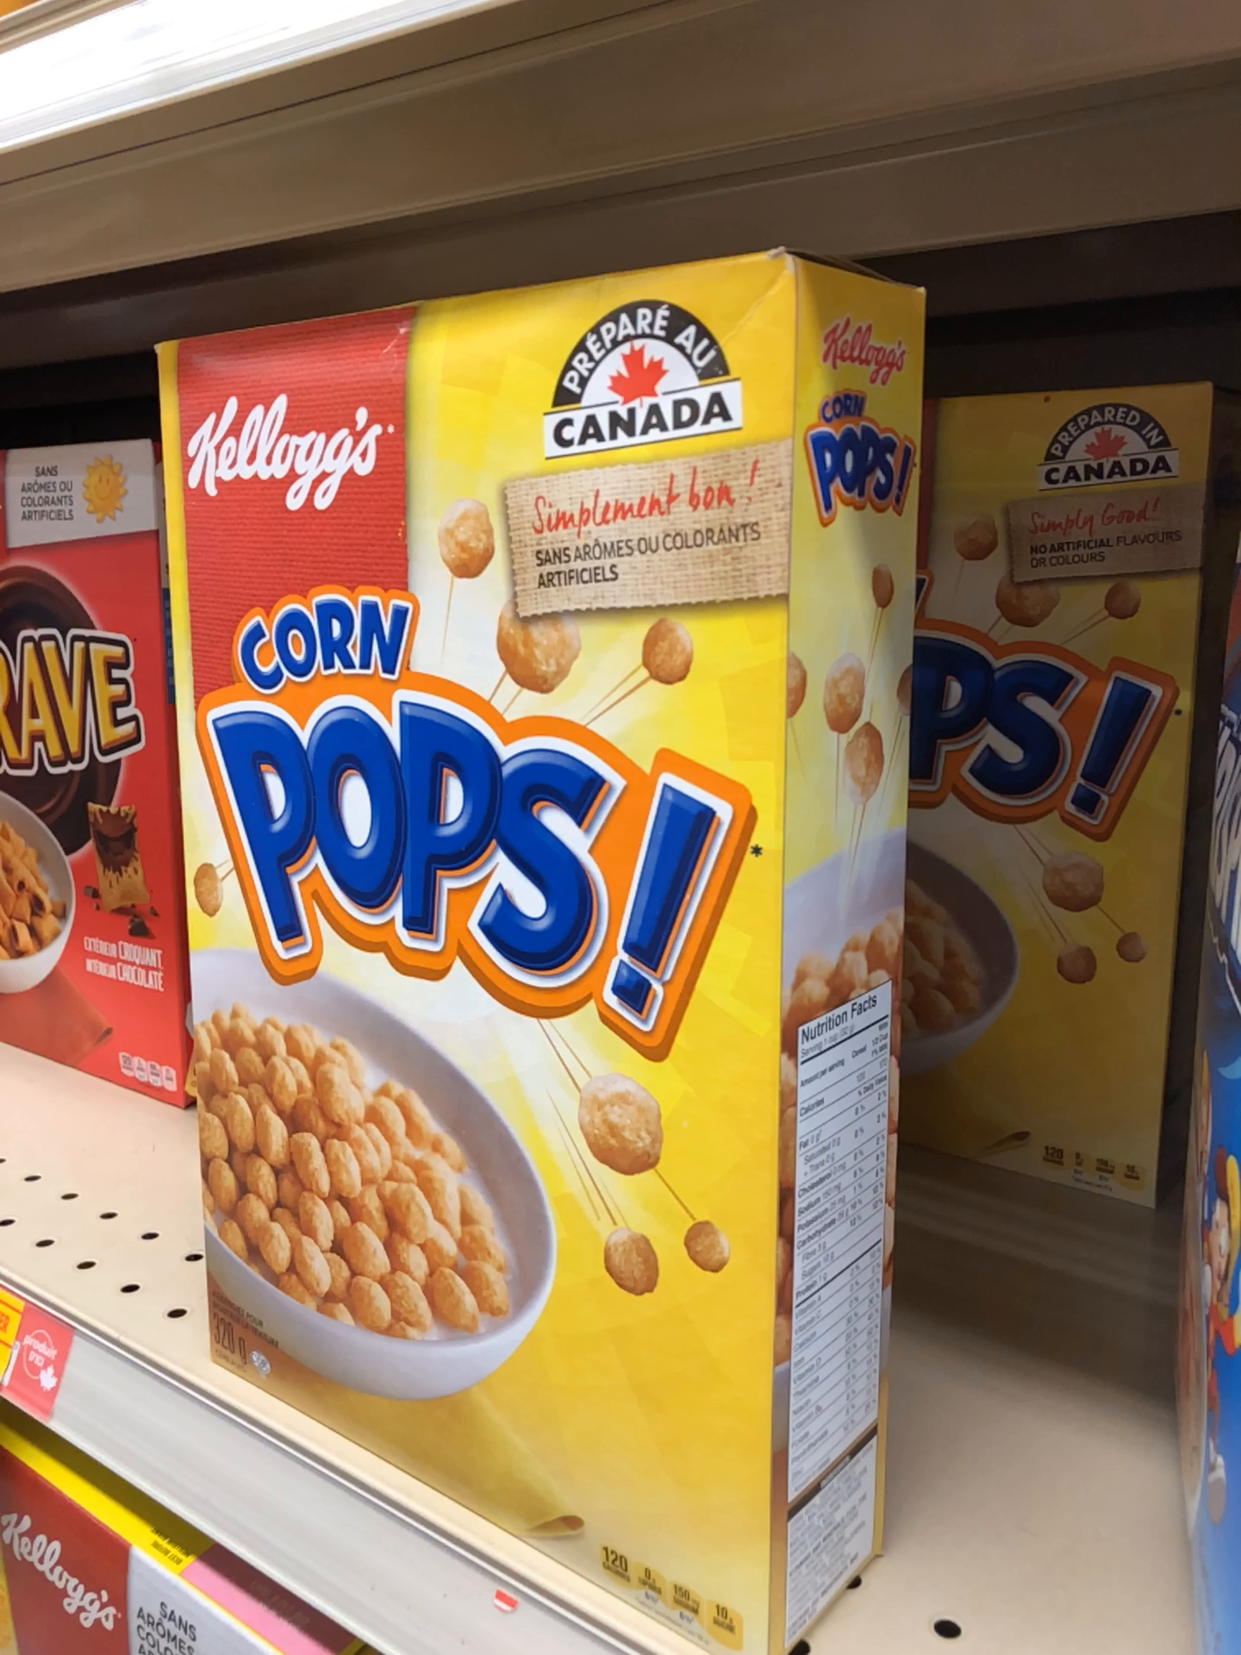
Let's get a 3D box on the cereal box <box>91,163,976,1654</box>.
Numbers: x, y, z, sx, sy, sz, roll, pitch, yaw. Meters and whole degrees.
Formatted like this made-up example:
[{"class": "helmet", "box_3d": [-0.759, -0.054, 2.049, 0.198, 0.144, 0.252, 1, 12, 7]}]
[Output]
[{"class": "cereal box", "box_3d": [-0.031, 0.017, 0.334, 0.210, 0.289, 0.060, 9, 15, 38]}]
